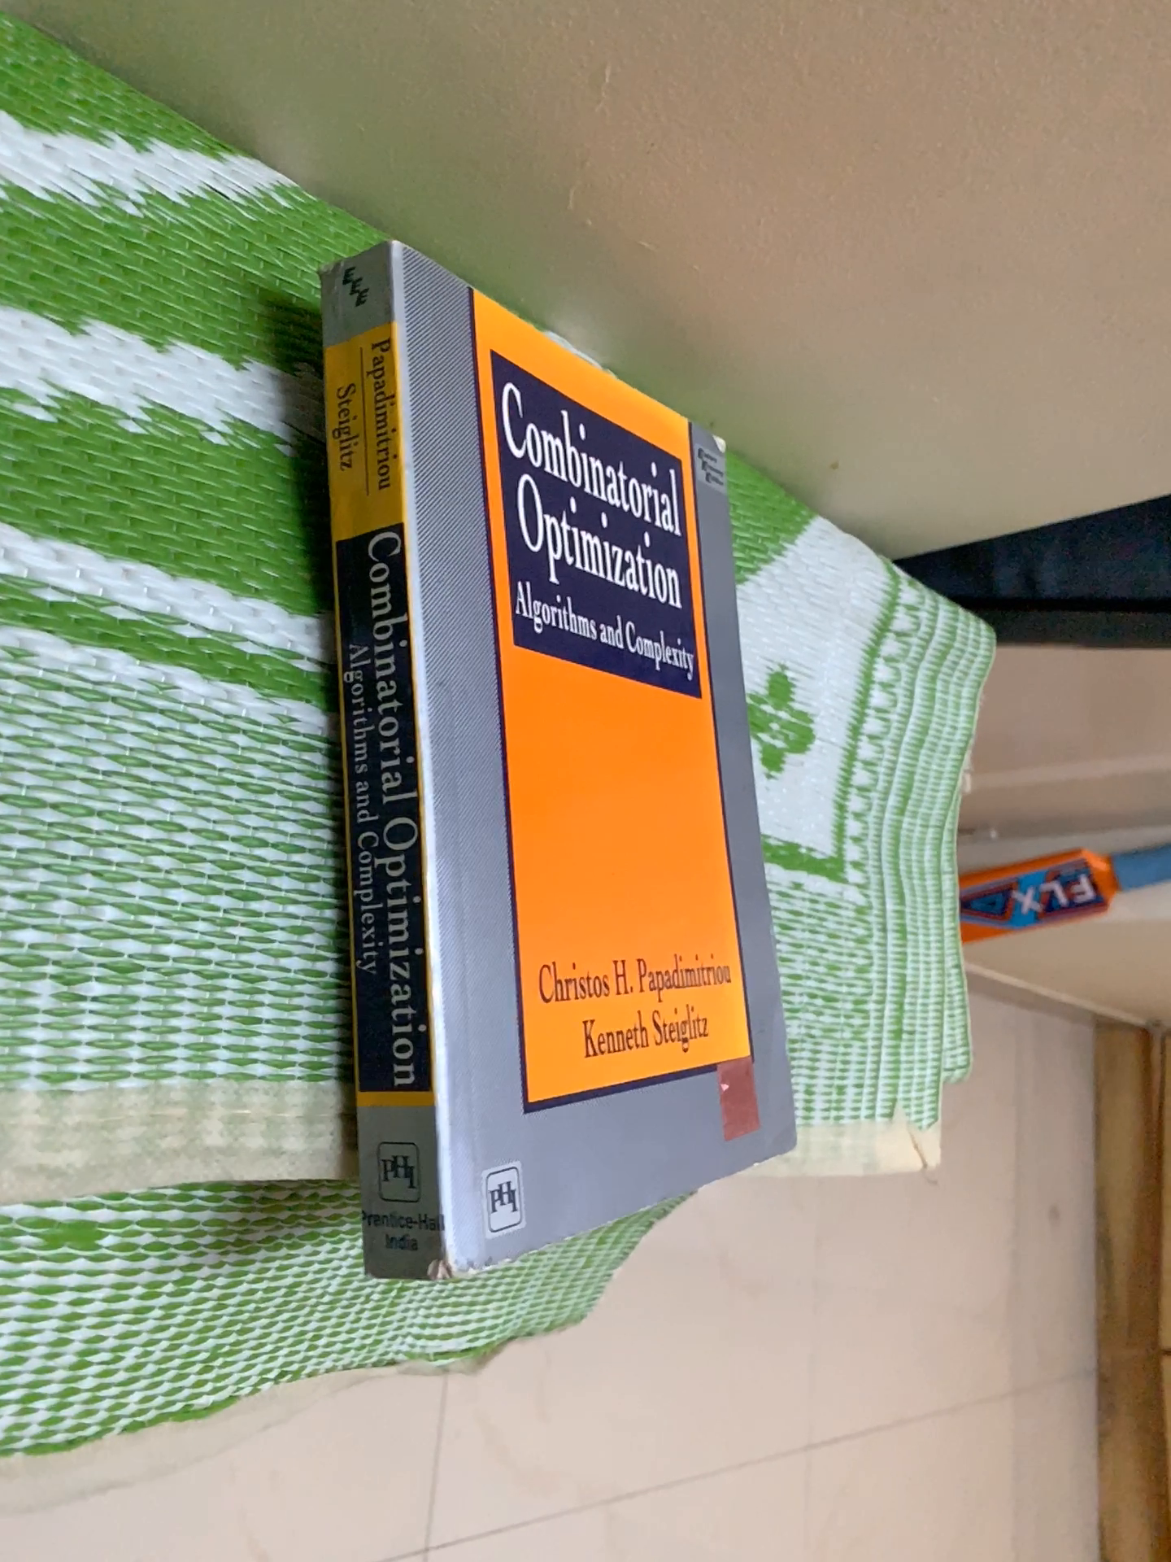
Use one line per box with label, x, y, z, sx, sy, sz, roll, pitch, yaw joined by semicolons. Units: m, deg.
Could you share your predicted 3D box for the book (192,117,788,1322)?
book;-0.019;-0.015;0.343;0.171;0.040;0.270;10;69;-56
